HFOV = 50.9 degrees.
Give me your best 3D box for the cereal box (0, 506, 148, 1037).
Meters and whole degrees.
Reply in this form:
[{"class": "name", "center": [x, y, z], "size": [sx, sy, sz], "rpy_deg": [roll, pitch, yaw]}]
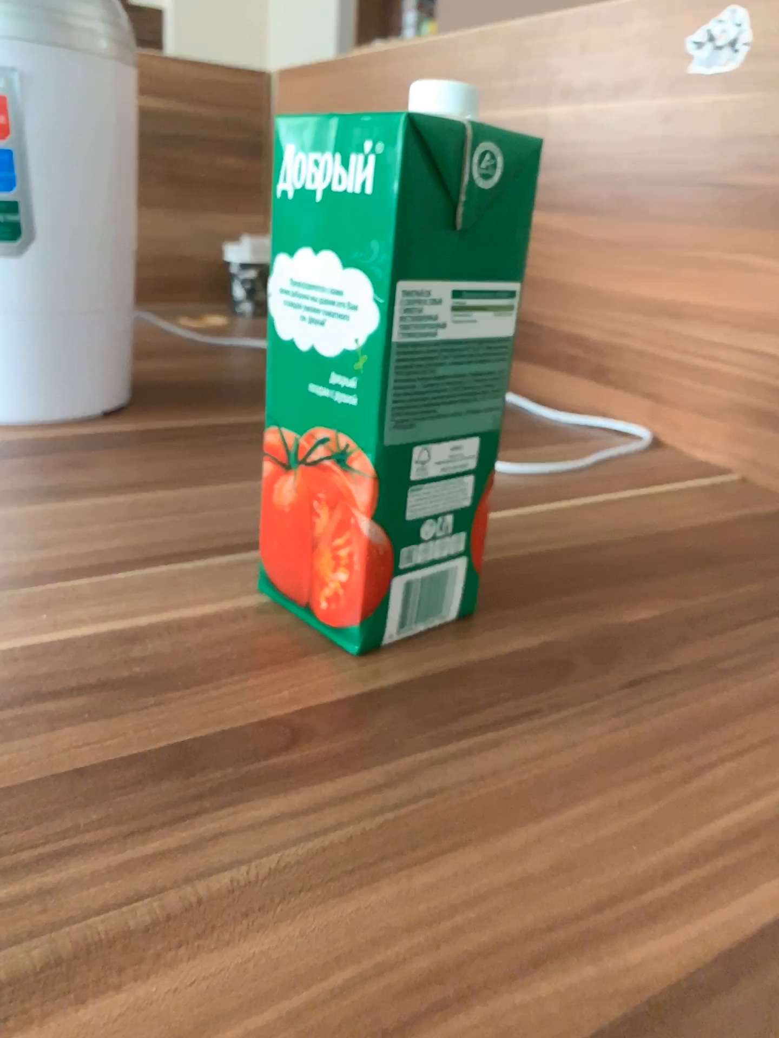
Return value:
[{"class": "cereal box", "center": [-0.525, 0.536, 0.272], "size": [0.590, 0.836, 0.612], "rpy_deg": [11, 22, 17]}]
